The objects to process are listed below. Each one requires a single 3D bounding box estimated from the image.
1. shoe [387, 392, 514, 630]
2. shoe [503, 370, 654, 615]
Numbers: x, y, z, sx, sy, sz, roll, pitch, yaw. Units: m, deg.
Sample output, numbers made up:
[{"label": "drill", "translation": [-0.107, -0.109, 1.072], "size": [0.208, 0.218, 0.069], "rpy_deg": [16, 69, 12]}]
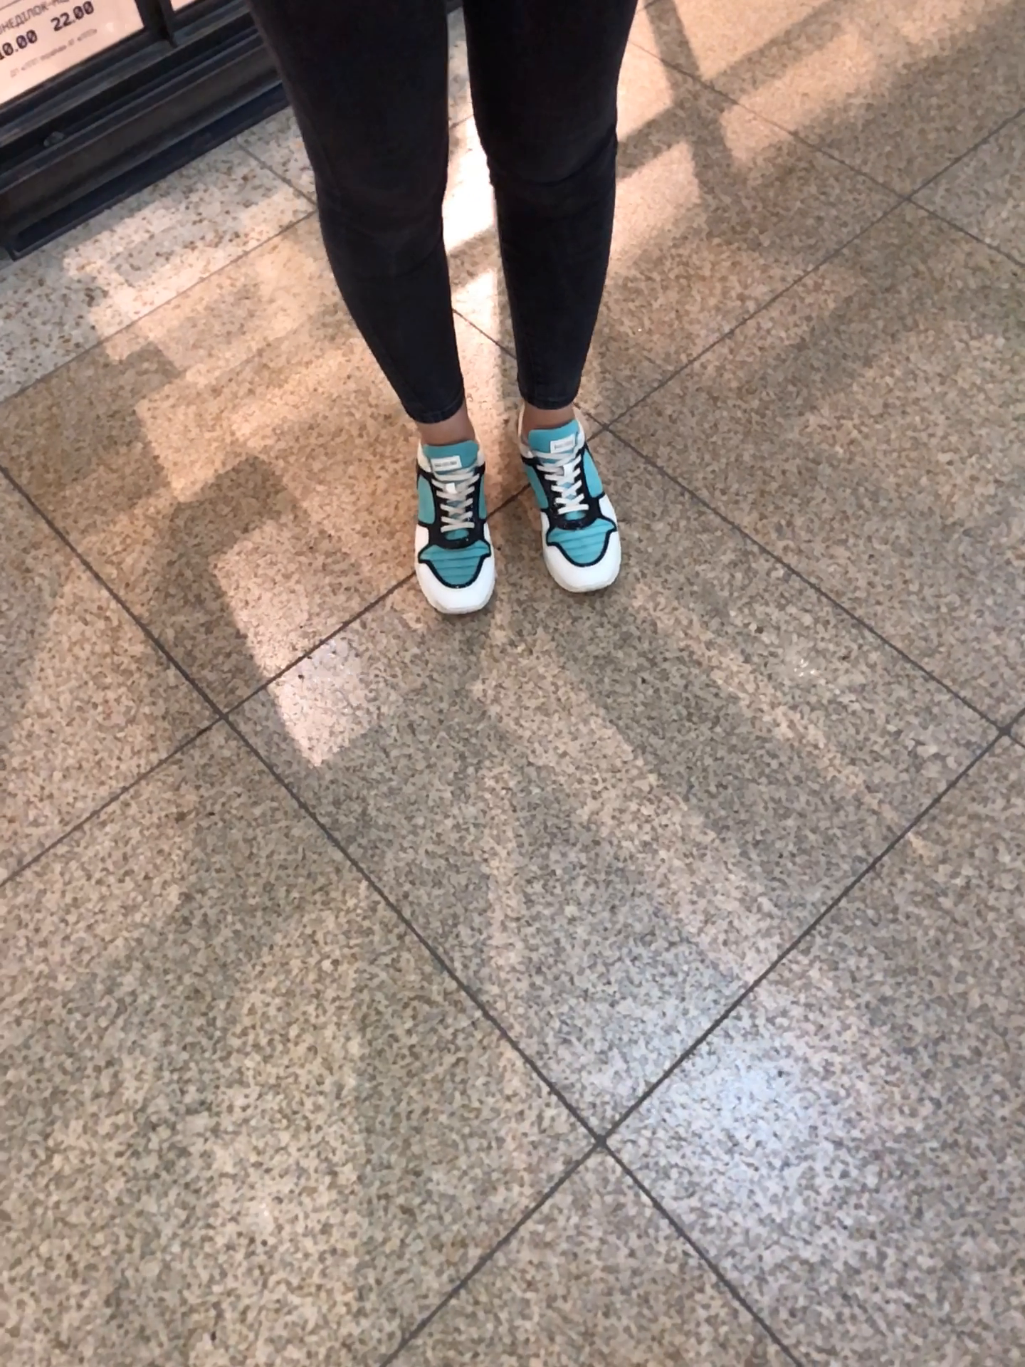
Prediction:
[{"label": "shoe", "translation": [-0.070, -0.194, 1.247], "size": [0.107, 0.100, 0.240], "rpy_deg": [-8, 60, -1]}, {"label": "shoe", "translation": [0.071, -0.218, 1.266], "size": [0.110, 0.100, 0.251], "rpy_deg": [-12, 60, -3]}]
